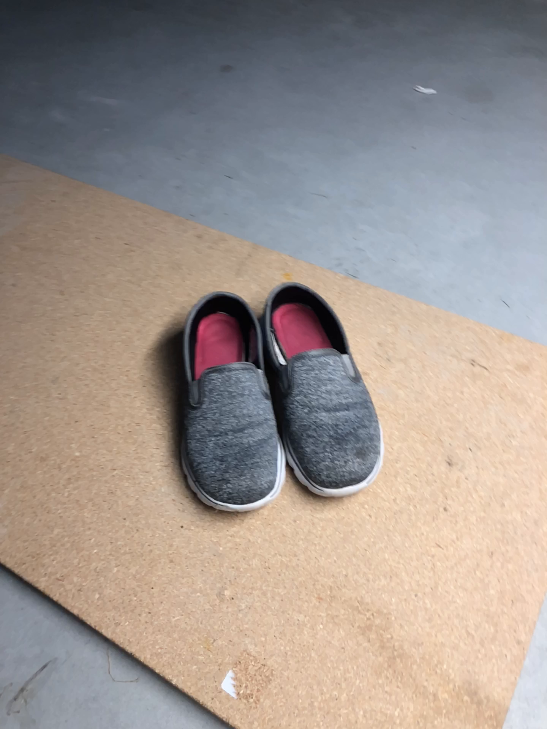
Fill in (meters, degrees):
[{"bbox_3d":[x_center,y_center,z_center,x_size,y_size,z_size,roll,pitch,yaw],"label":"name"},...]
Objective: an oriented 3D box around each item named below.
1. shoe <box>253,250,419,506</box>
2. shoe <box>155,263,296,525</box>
[{"bbox_3d":[0.050,0.002,0.600,0.100,0.073,0.251,-9,51,-5],"label":"shoe"},{"bbox_3d":[-0.052,0.017,0.587,0.100,0.070,0.251,-9,51,-5],"label":"shoe"}]
